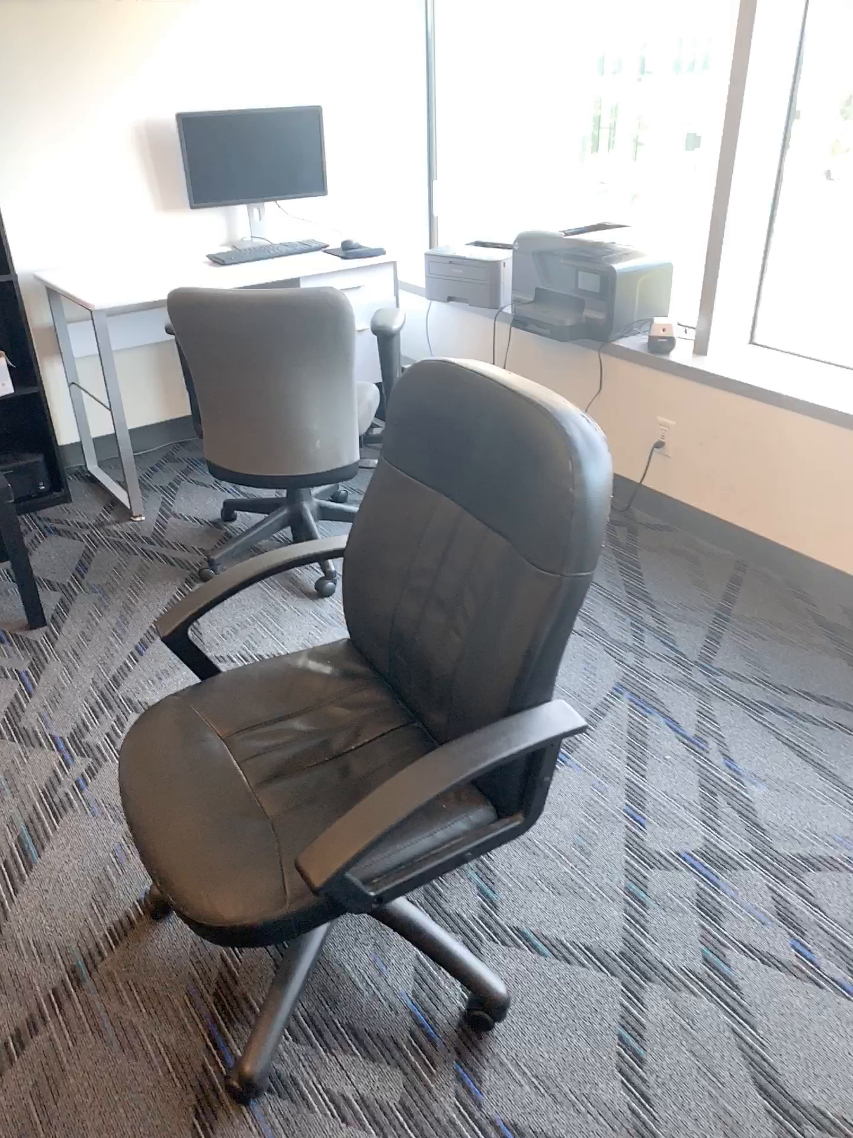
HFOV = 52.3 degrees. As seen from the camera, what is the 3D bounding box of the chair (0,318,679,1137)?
[{"bbox_3d":[-0.174,0.190,1.335,0.692,0.893,0.704,-18,34,-26],"label":"chair"}]
